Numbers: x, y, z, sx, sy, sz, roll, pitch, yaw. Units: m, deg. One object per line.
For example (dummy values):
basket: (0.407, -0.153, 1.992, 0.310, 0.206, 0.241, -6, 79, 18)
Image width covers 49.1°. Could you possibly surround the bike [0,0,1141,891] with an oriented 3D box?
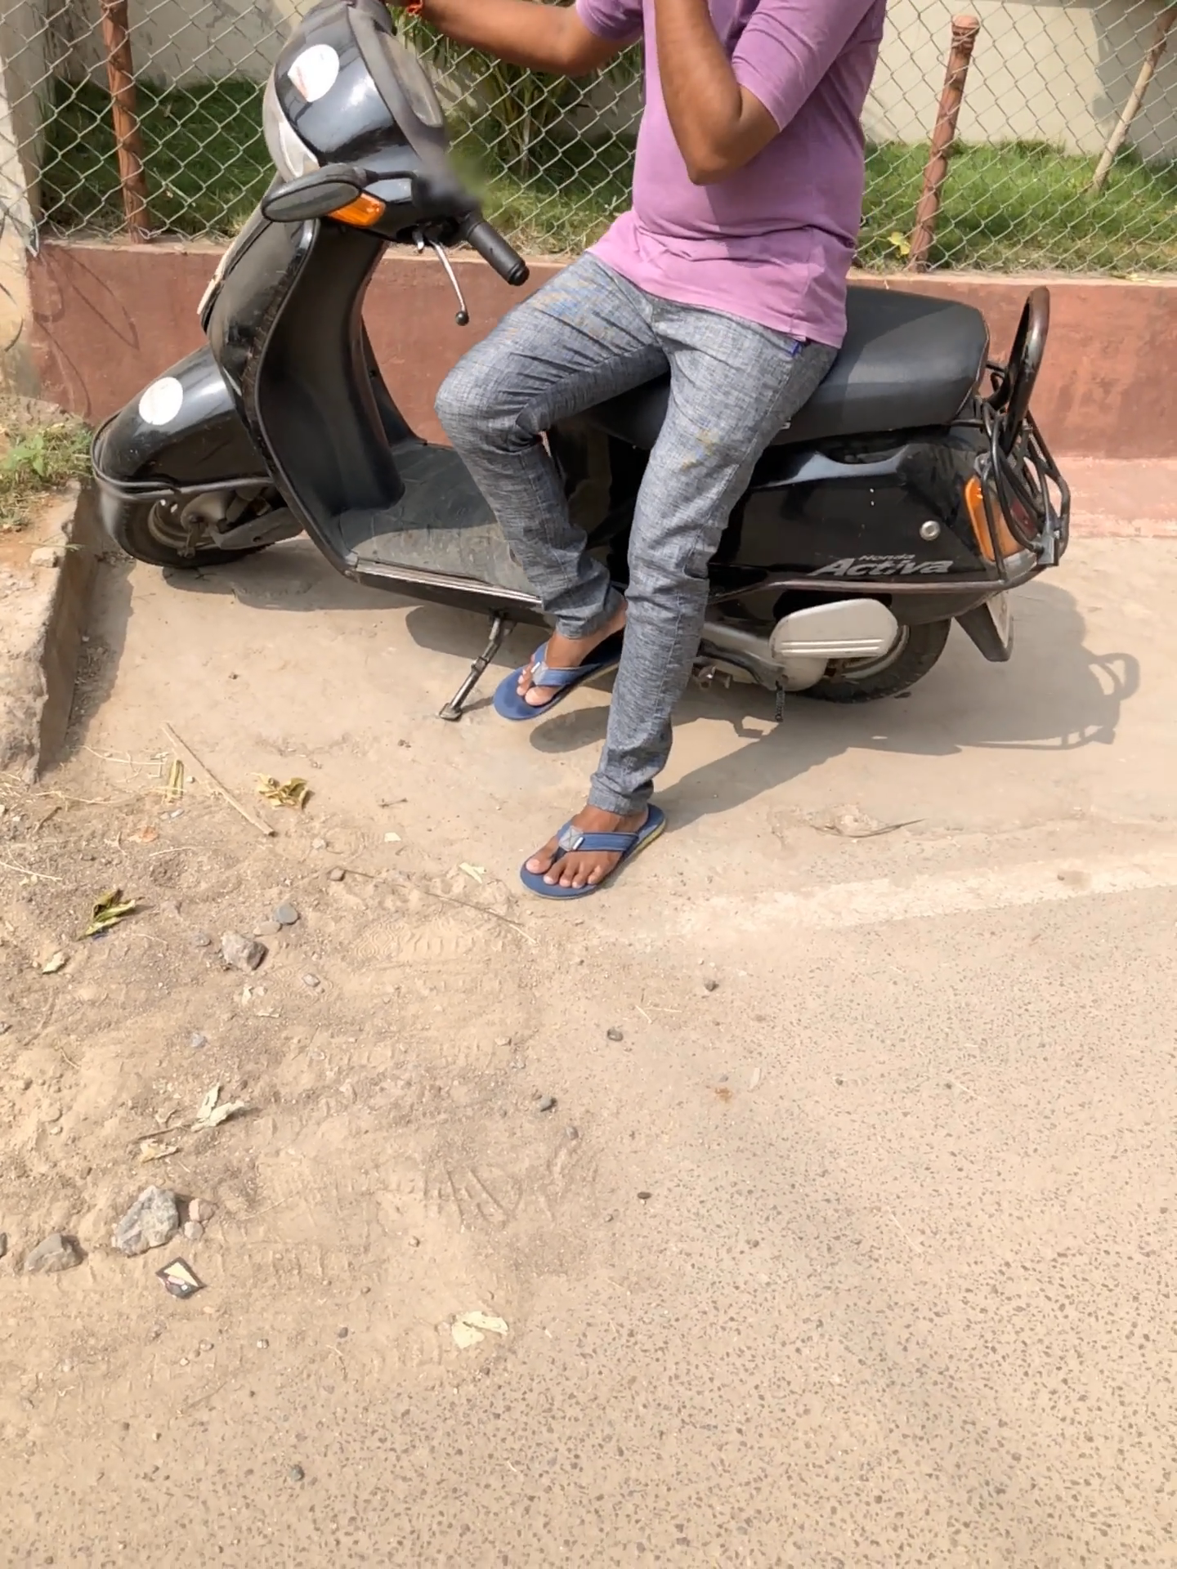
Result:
bike: (-0.124, -0.617, 2.055, 1.547, 1.153, 0.713, 8, 35, 4)
